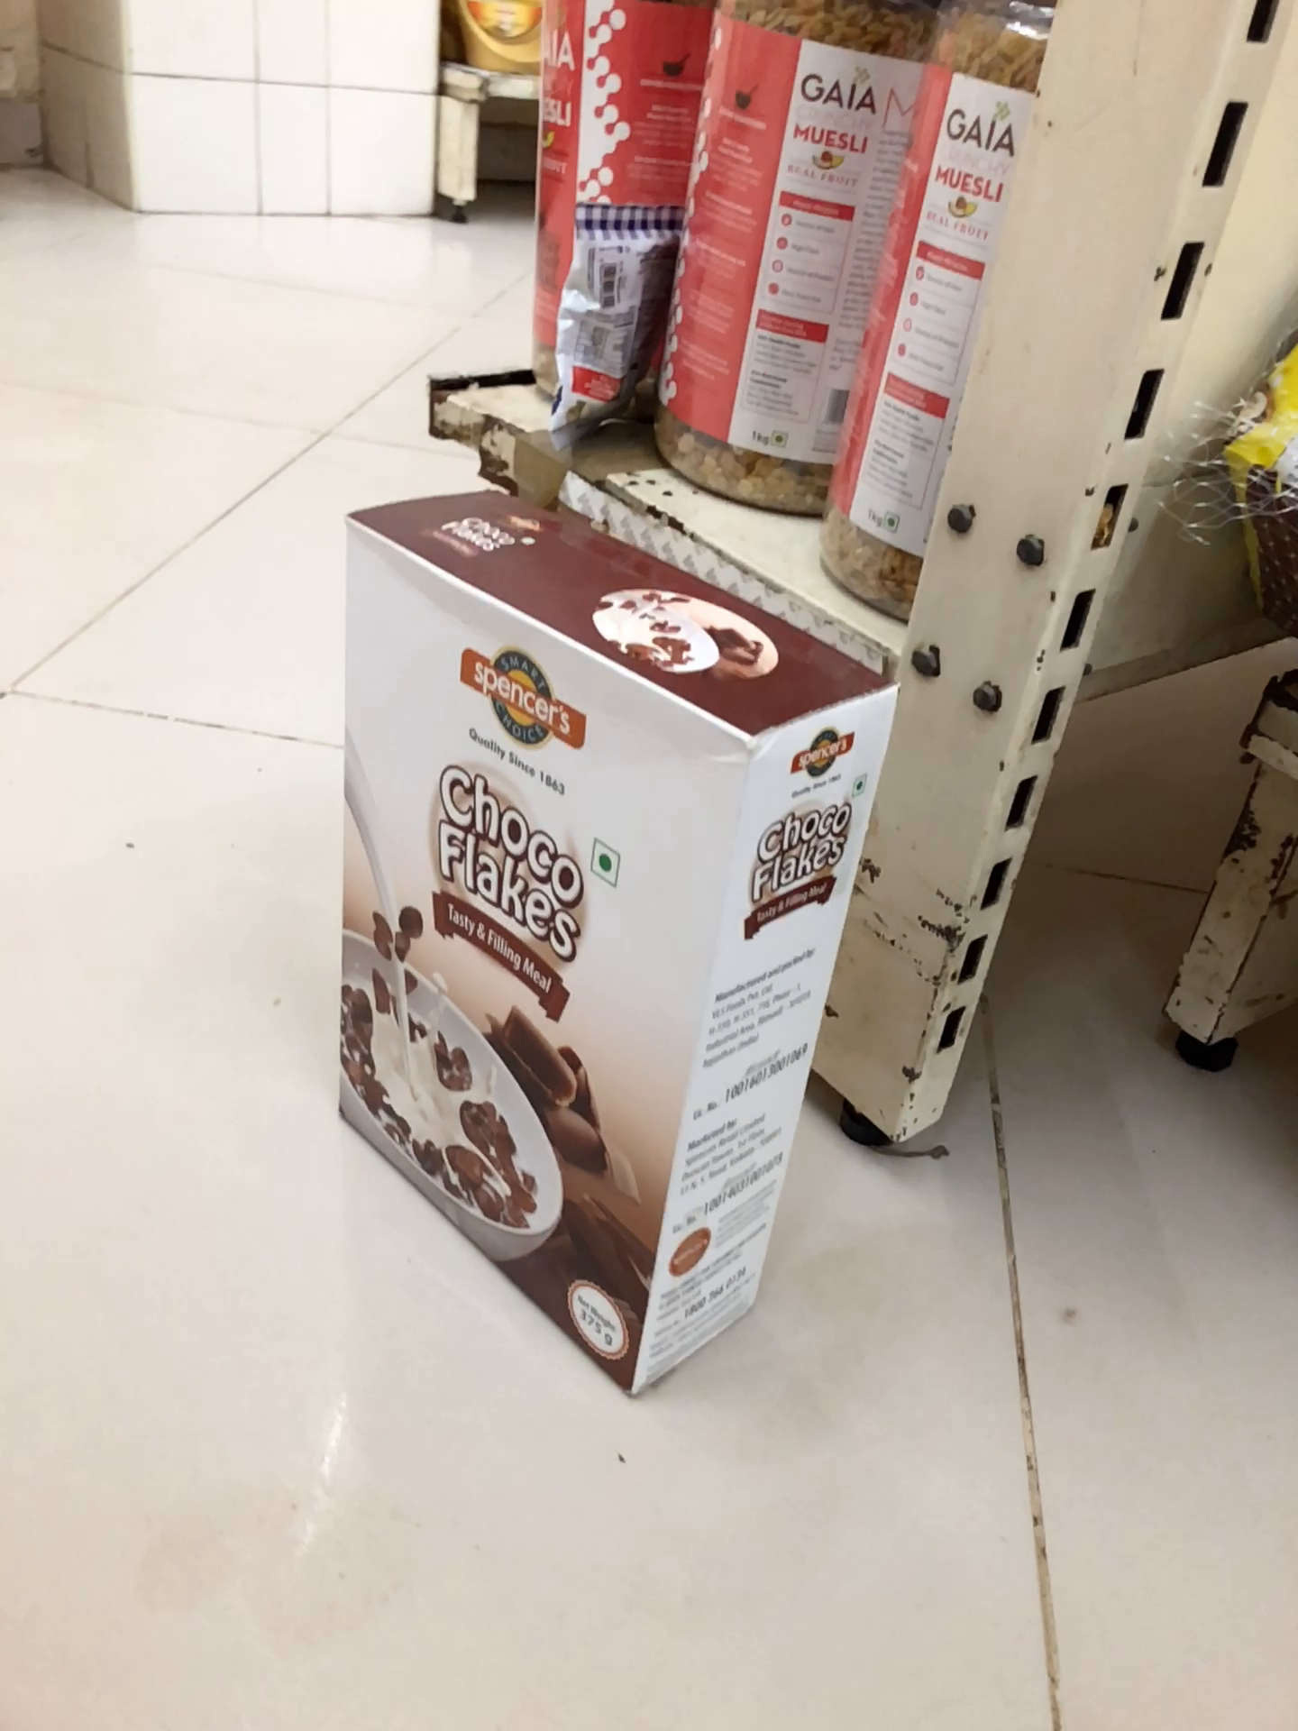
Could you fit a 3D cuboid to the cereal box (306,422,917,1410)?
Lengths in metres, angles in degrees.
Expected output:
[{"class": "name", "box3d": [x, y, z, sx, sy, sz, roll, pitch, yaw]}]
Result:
[{"class": "cereal box", "box3d": [-0.032, 0.014, 0.468, 0.060, 0.258, 0.190, -22, 42, -39]}]
